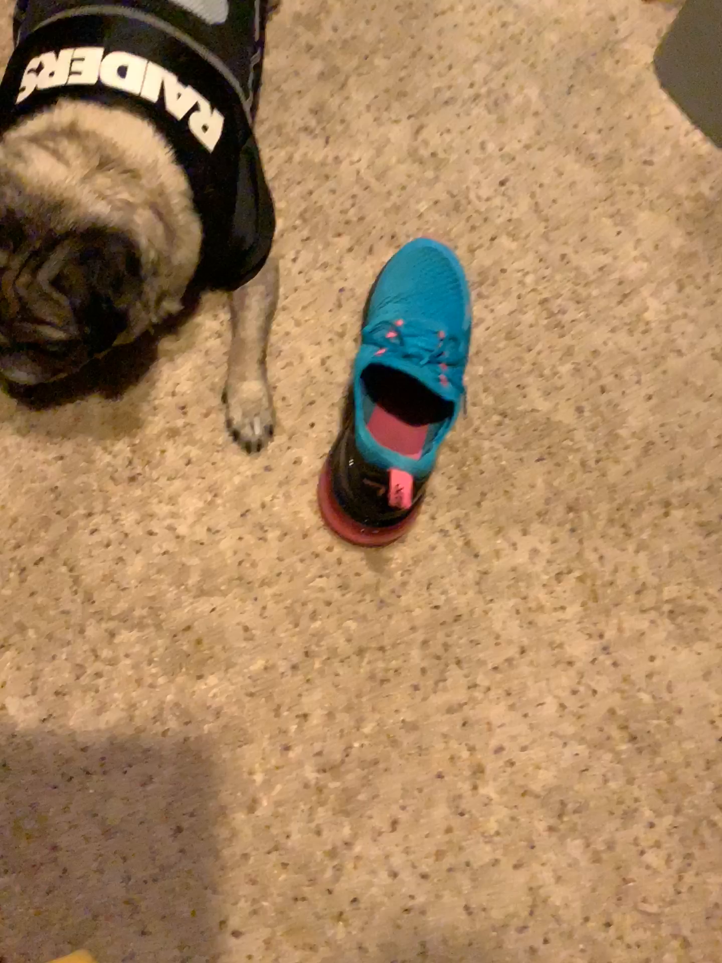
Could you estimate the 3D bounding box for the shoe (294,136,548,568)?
[{"bbox_3d":[0.054,-0.112,0.730,0.130,0.140,0.340,17,72,-9],"label":"shoe"}]
